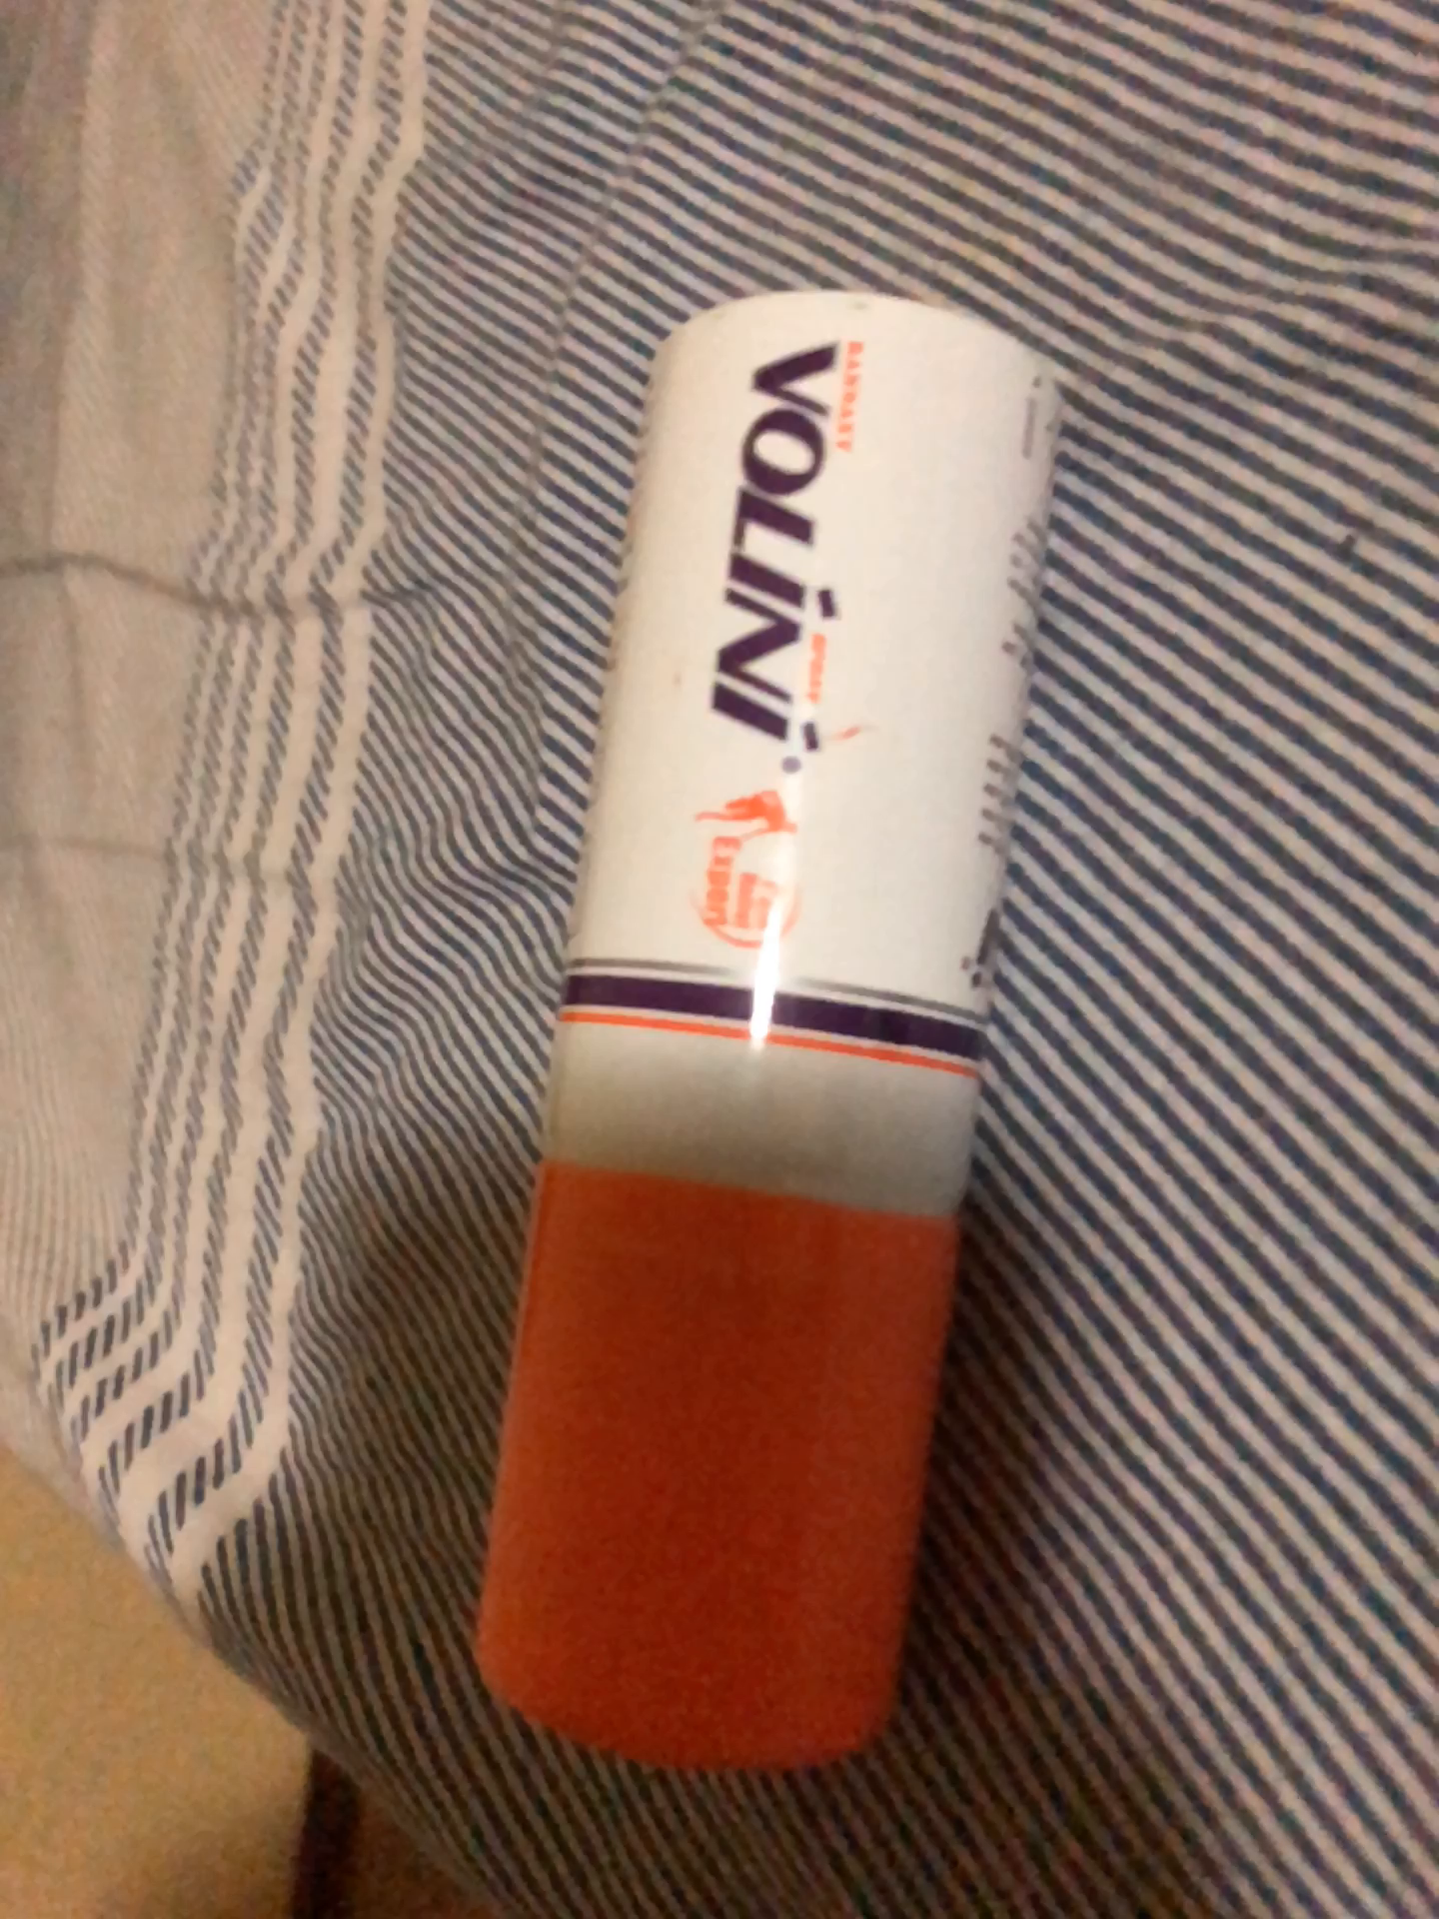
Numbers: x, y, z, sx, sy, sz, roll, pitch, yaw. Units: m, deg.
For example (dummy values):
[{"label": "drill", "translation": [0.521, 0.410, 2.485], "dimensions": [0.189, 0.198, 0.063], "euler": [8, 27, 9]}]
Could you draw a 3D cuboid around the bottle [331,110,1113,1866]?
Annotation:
[{"label": "bottle", "translation": [0.005, -0.001, 0.134], "dimensions": [0.040, 0.040, 0.120], "euler": [6, 84, 14]}]
